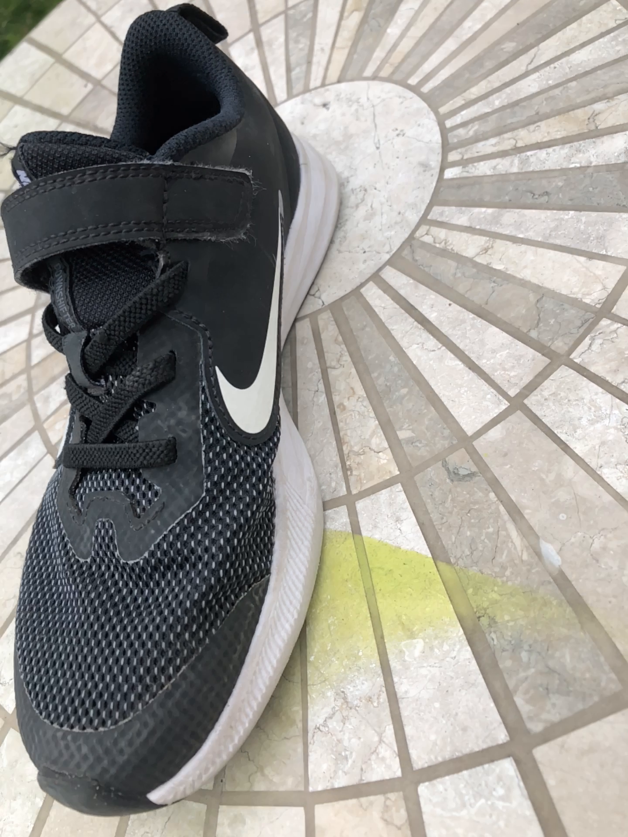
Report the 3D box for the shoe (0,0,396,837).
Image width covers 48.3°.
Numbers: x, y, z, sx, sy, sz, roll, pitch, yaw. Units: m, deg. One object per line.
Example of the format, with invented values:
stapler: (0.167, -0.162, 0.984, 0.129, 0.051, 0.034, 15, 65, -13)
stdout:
shoe: (-0.050, -0.017, 0.208, 0.100, 0.100, 0.251, -7, 61, 28)
